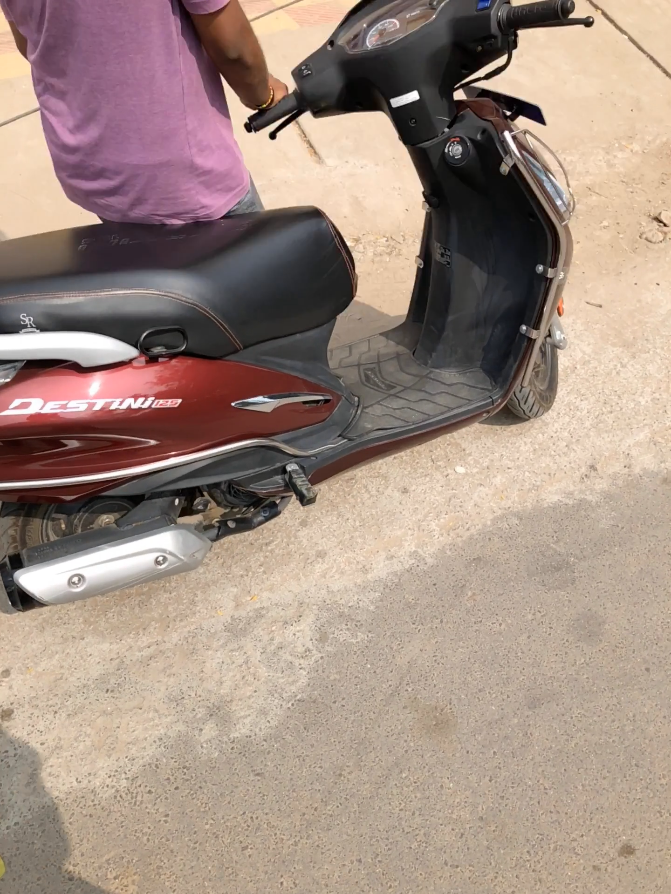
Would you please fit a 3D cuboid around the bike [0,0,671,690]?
[{"bbox_3d":[-0.105,-0.398,1.715,1.620,1.126,0.676,-27,52,-21],"label":"bike"}]
